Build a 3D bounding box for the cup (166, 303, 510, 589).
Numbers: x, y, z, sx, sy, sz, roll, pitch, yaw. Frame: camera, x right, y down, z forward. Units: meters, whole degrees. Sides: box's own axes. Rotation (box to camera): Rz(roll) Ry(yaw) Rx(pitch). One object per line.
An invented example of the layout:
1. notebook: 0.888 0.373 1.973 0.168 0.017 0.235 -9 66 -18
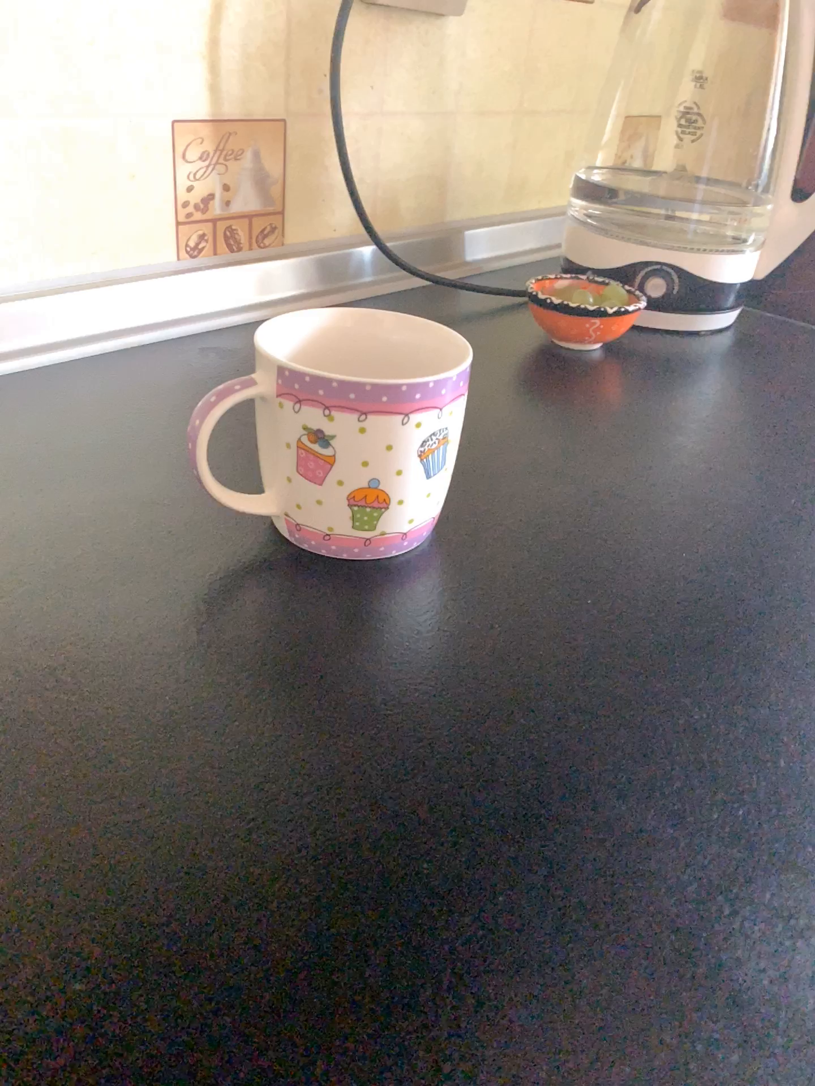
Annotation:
1. cup: -0.032 -0.044 0.336 0.110 0.080 0.080 -7 33 -22
